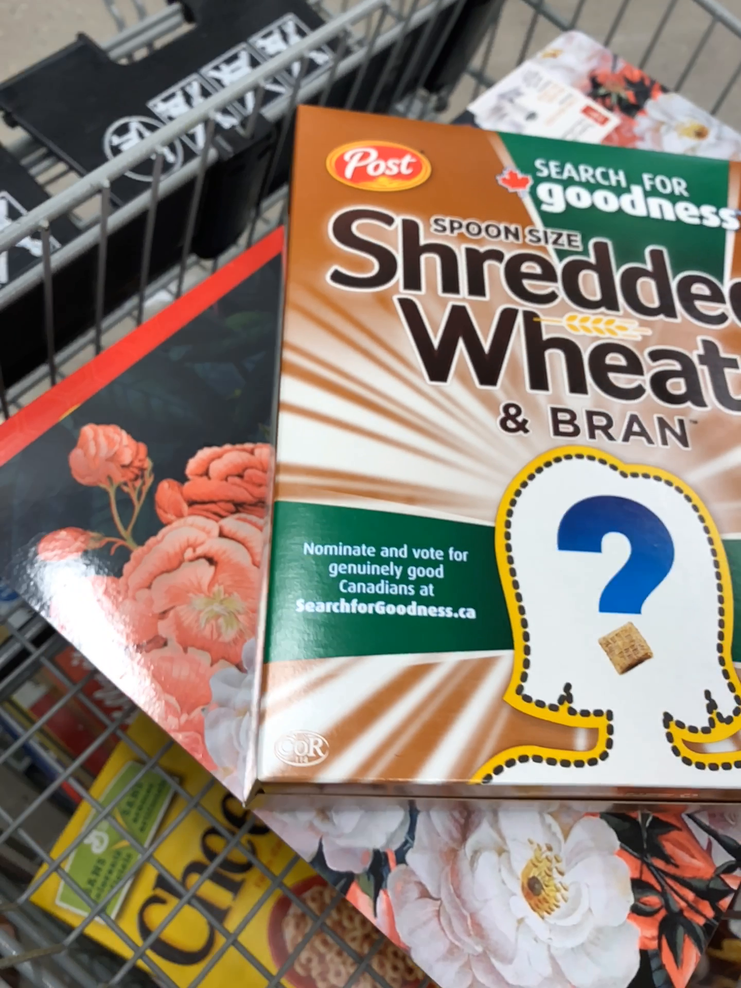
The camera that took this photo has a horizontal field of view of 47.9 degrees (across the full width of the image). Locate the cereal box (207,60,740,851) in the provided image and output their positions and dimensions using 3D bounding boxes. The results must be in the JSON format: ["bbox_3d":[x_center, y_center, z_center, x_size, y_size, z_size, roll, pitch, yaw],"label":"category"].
[{"bbox_3d":[0.063,-0.028,0.330,0.220,0.070,0.300,6,60,-9],"label":"cereal box"}]
